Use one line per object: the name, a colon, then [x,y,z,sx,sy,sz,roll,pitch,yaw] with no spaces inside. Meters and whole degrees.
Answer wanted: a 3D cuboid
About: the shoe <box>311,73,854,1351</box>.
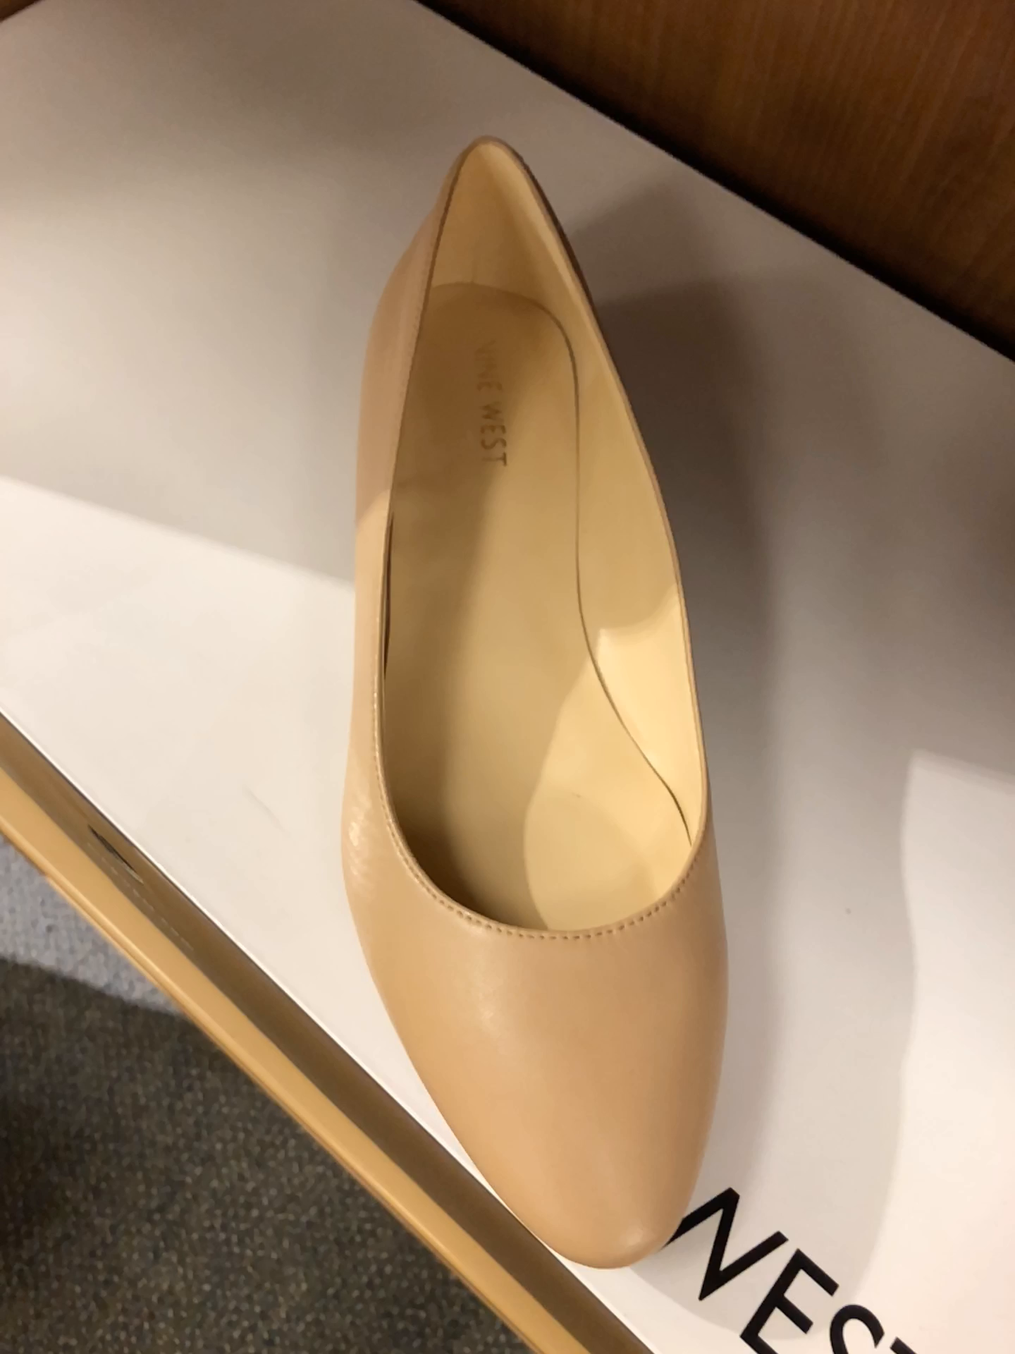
shoe: [0.002,-0.010,0.260,0.081,0.070,0.270,-3,68,-4]
